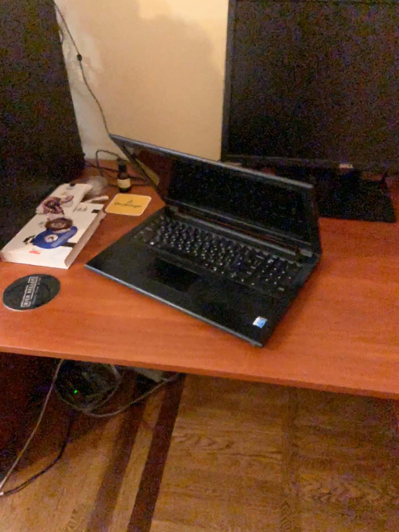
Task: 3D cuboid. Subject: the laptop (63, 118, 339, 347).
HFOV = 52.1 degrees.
[{"bbox_3d":[0.003,-0.086,0.723,0.374,0.202,0.247,21,45,25],"label":"laptop"}]
